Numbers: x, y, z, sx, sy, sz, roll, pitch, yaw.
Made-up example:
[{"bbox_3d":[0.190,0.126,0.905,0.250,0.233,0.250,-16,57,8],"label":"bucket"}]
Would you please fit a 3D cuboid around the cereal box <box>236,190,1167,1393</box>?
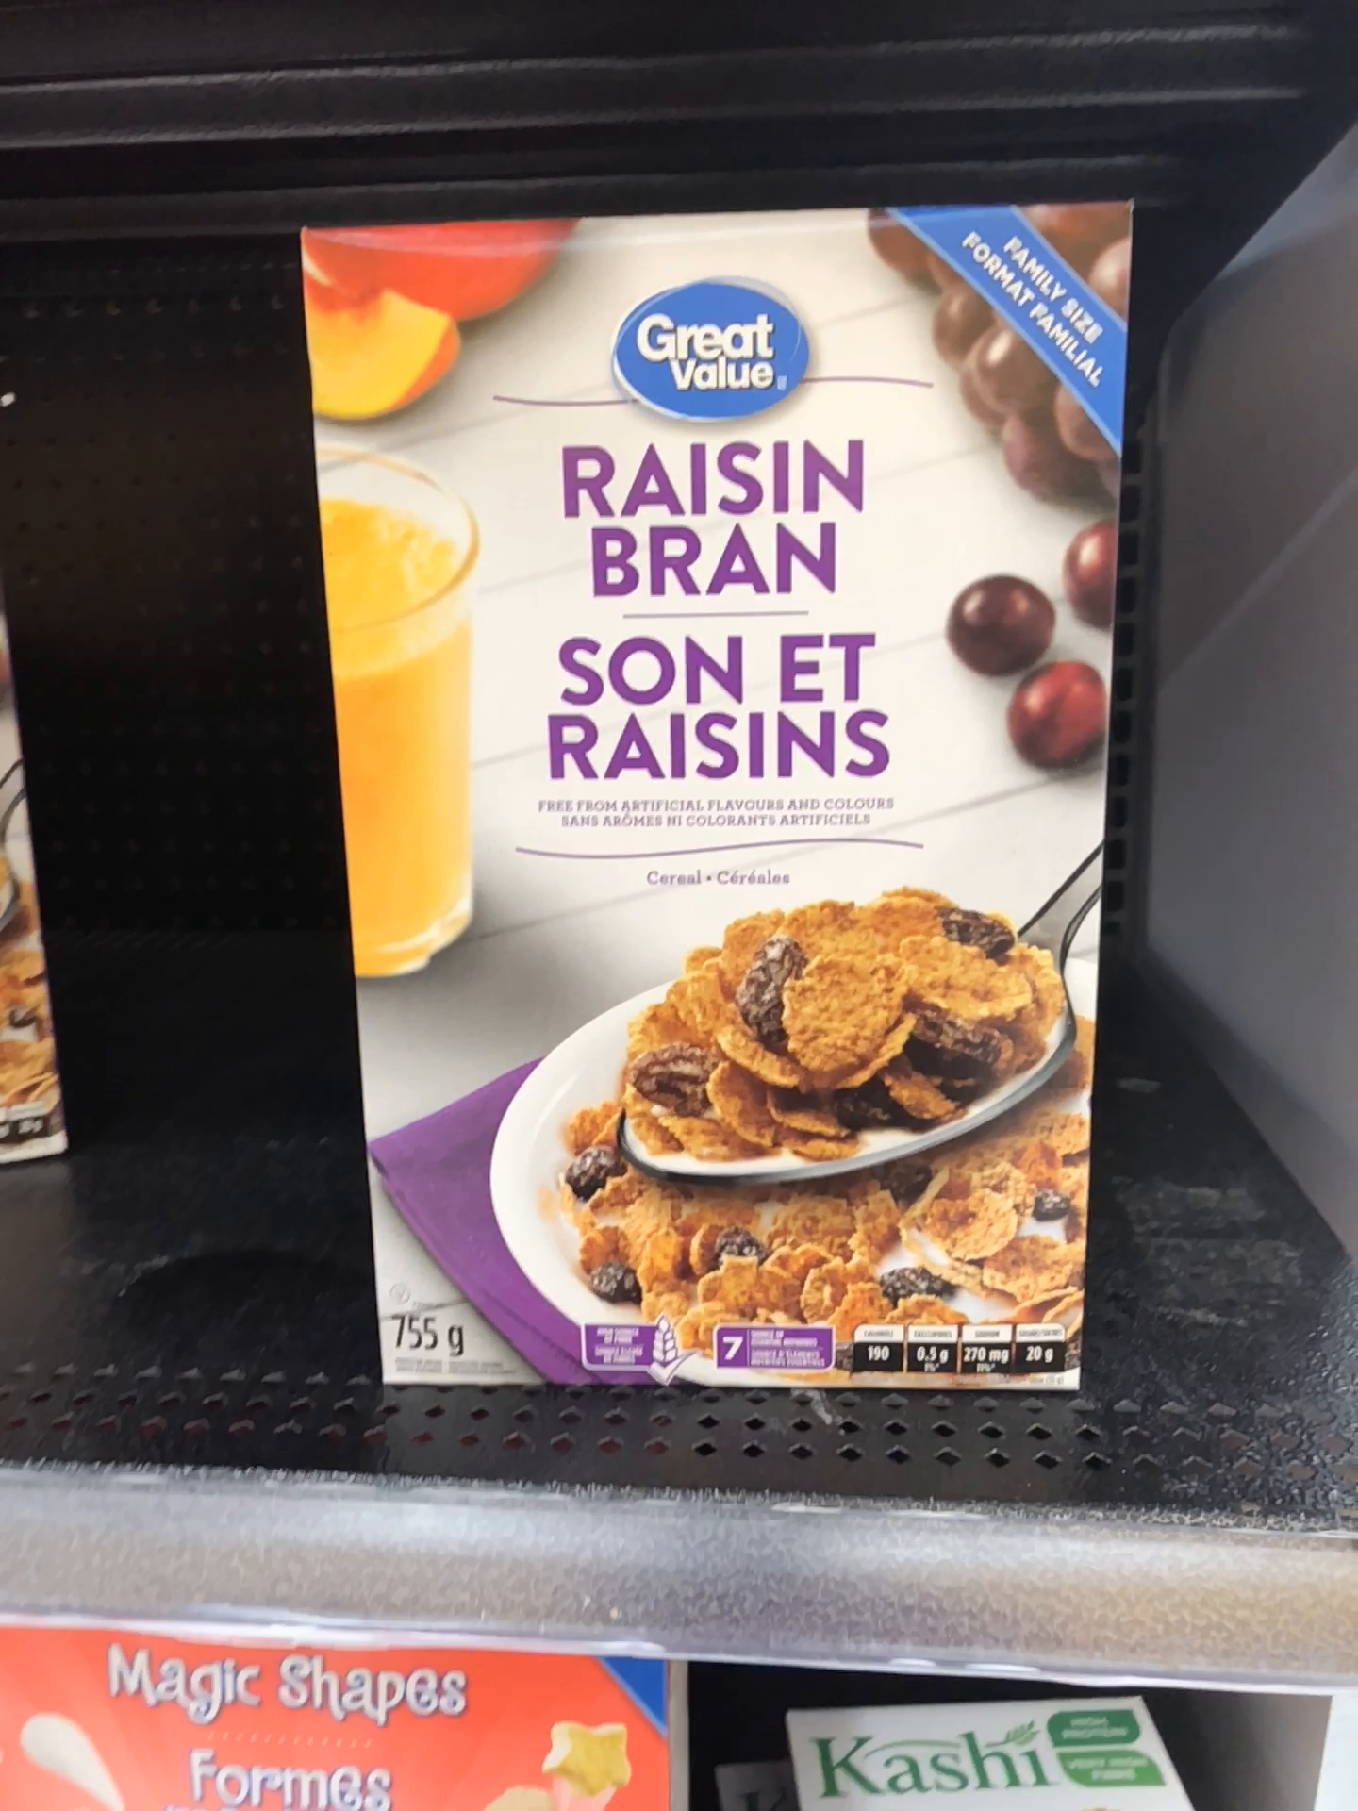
[{"bbox_3d":[0.007,-0.022,0.409,0.210,0.299,0.070,0,14,2],"label":"cereal box"}]
